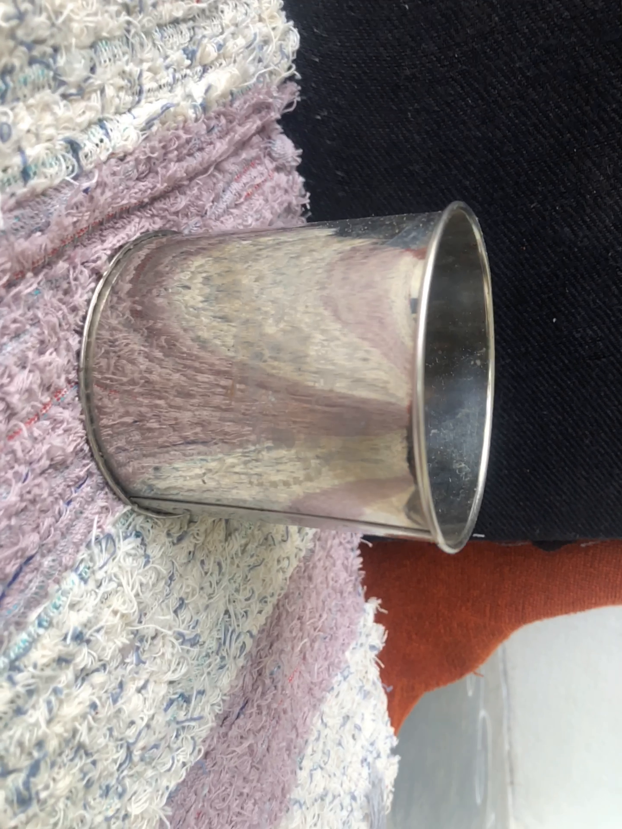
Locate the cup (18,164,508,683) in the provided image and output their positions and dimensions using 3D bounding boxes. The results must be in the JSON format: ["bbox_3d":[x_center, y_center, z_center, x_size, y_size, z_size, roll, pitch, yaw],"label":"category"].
[{"bbox_3d":[0.002,-0.003,0.174,0.080,0.079,0.090,-58,144,-51],"label":"cup"}]
